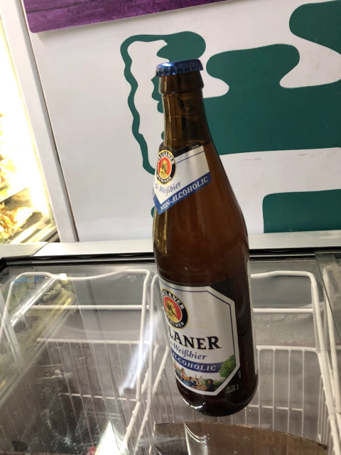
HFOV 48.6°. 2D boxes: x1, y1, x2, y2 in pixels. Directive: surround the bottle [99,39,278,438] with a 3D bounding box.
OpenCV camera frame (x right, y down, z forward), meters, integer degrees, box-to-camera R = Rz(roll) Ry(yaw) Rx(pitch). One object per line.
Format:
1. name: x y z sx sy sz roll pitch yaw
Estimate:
1. bottle: 0.019 0.013 0.252 0.060 0.238 0.070 -22 25 -30
